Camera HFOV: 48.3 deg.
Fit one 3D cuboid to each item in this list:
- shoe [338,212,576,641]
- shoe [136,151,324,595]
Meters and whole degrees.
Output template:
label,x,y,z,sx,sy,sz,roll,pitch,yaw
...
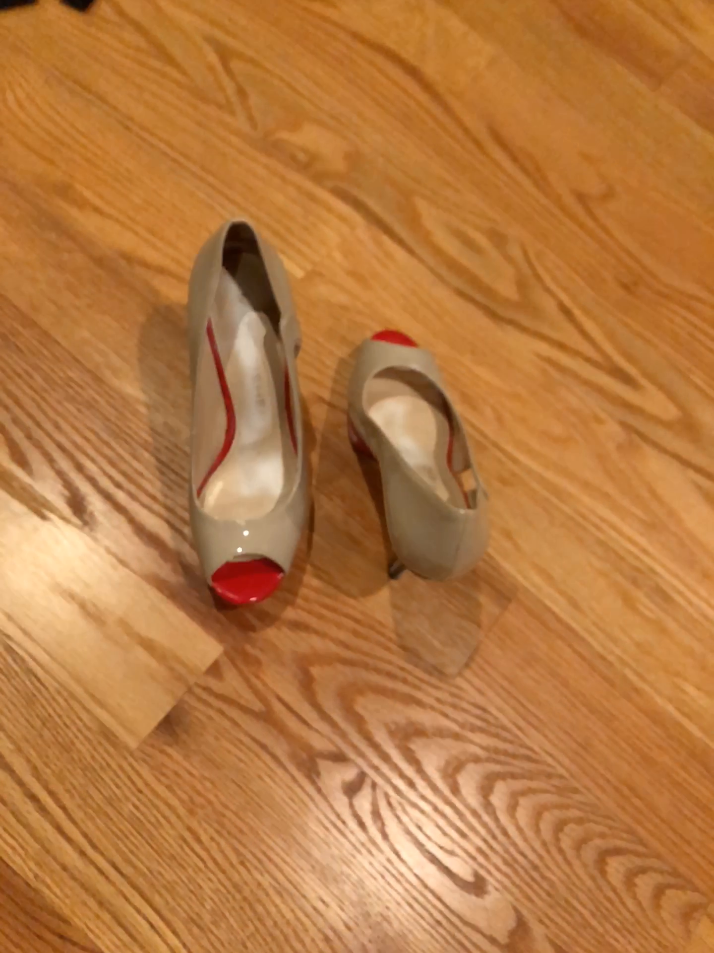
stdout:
label,x,y,z,sx,sy,sz,roll,pitch,yaw
shoe,0.047,-0.023,0.495,0.080,0.149,0.221,-1,69,-11
shoe,-0.074,-0.052,0.461,0.085,0.130,0.216,1,69,-11
